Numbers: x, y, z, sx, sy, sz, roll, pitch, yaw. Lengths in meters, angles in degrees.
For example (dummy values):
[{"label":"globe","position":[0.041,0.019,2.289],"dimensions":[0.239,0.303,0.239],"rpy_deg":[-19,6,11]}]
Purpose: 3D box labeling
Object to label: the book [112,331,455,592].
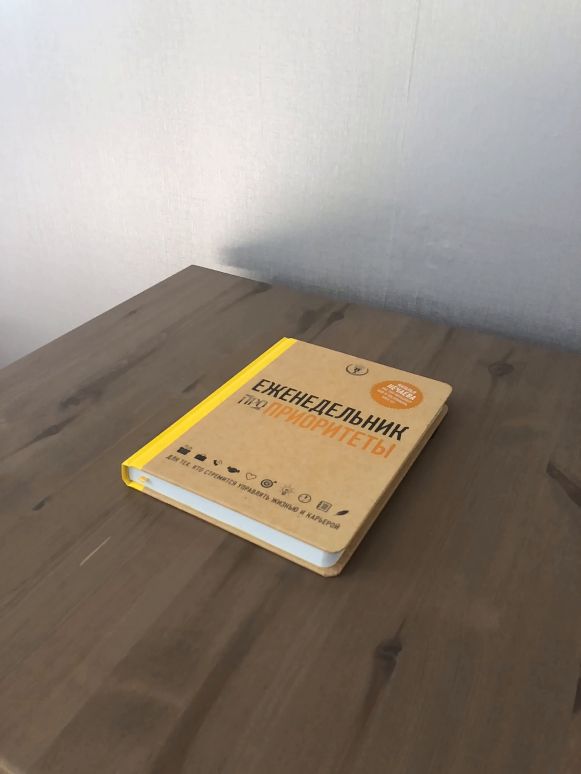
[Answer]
[{"label":"book","position":[0.007,0.037,0.515],"dimensions":[0.180,0.032,0.230],"rpy_deg":[18,36,24]}]
